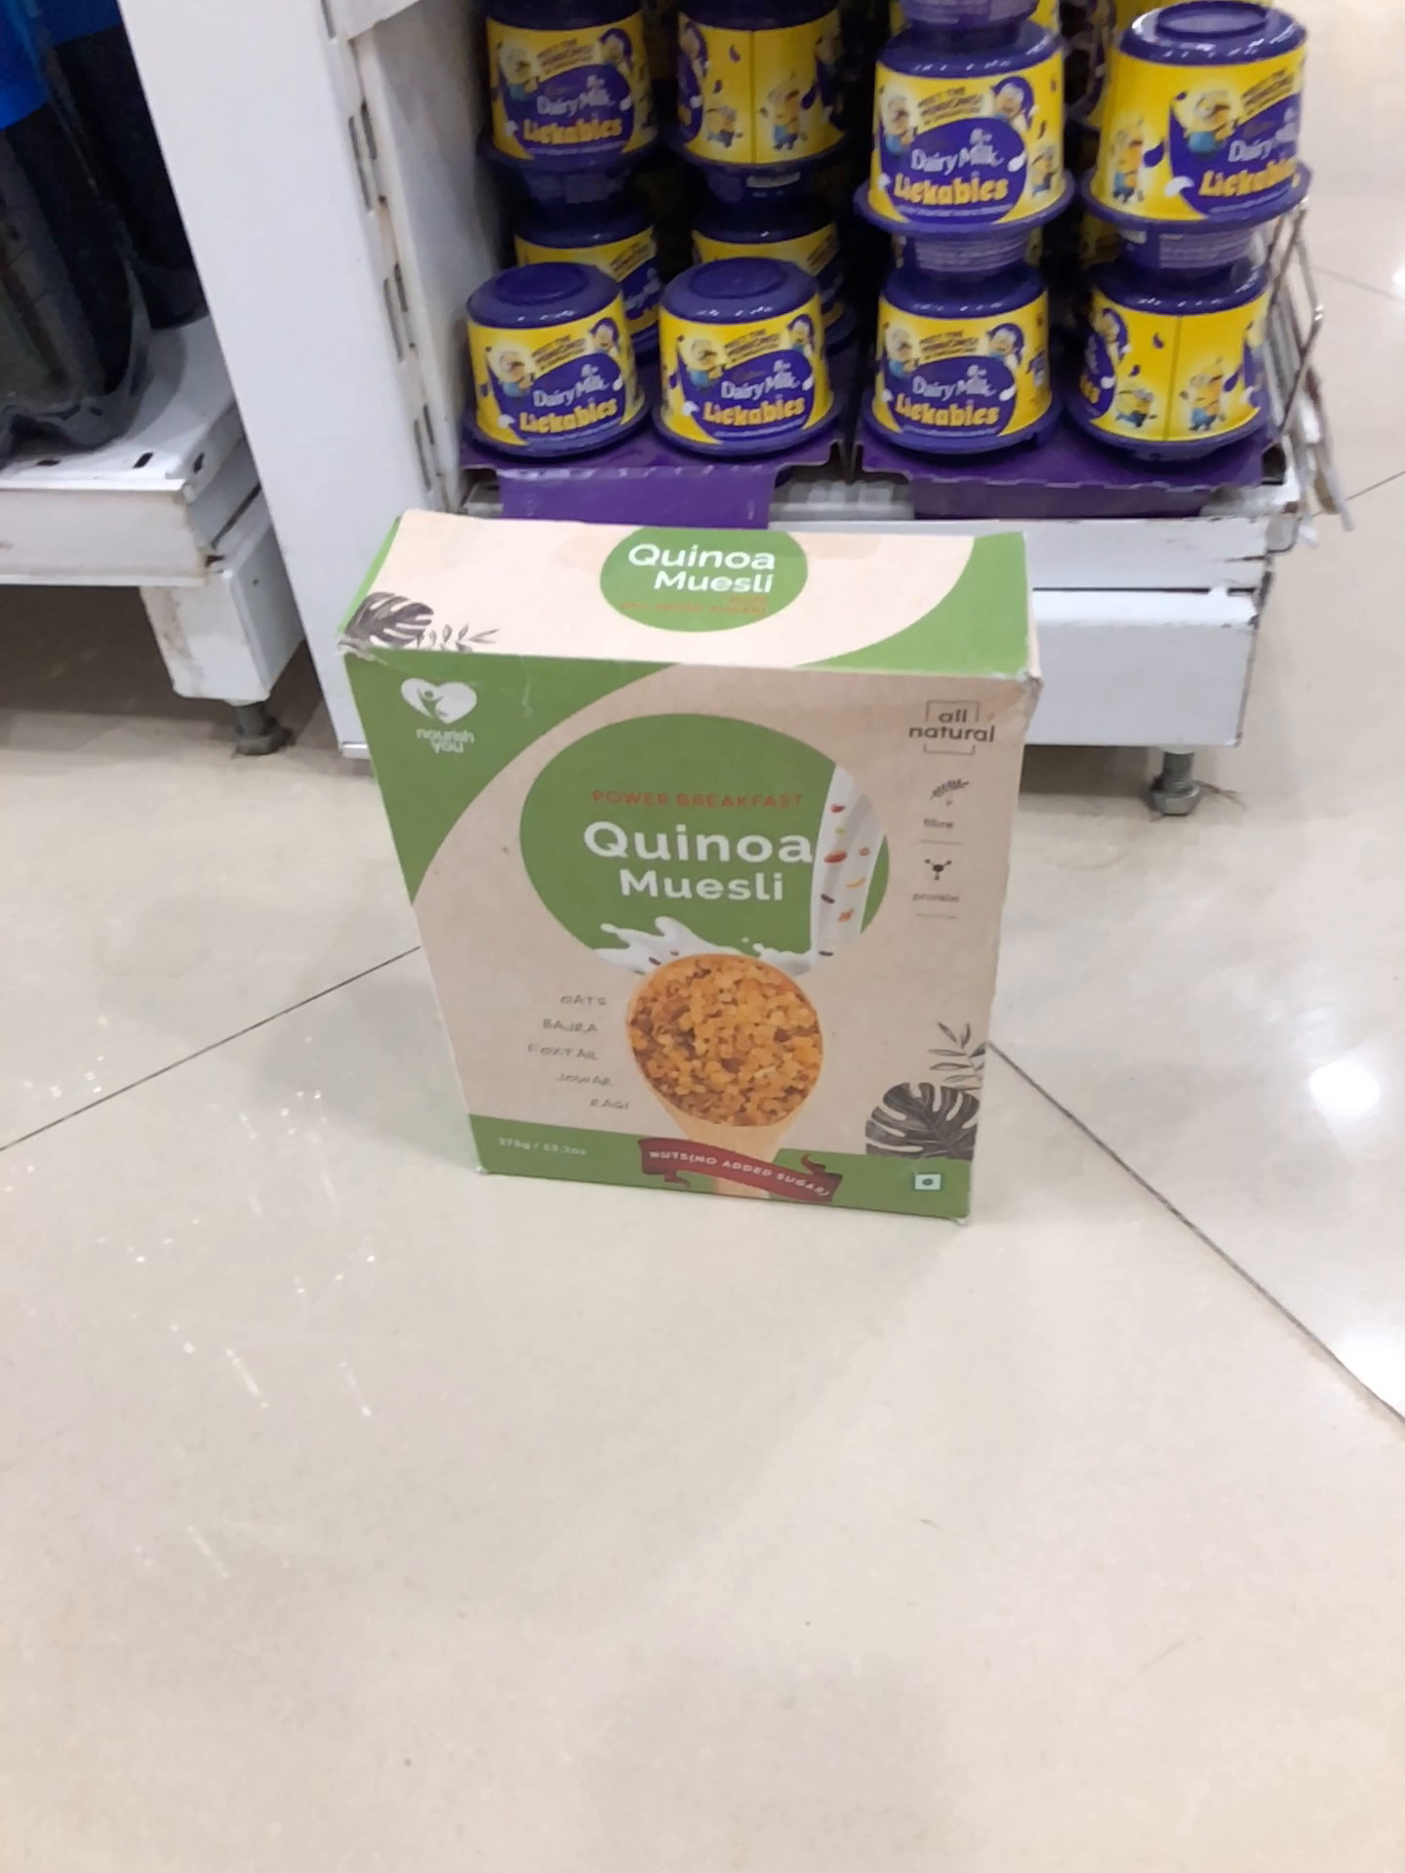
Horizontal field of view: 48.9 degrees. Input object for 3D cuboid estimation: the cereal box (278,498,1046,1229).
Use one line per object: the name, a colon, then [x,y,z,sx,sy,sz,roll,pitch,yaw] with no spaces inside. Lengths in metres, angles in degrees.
cereal box: [-0.001,-0.011,0.403,0.160,0.189,0.060,4,45,9]
